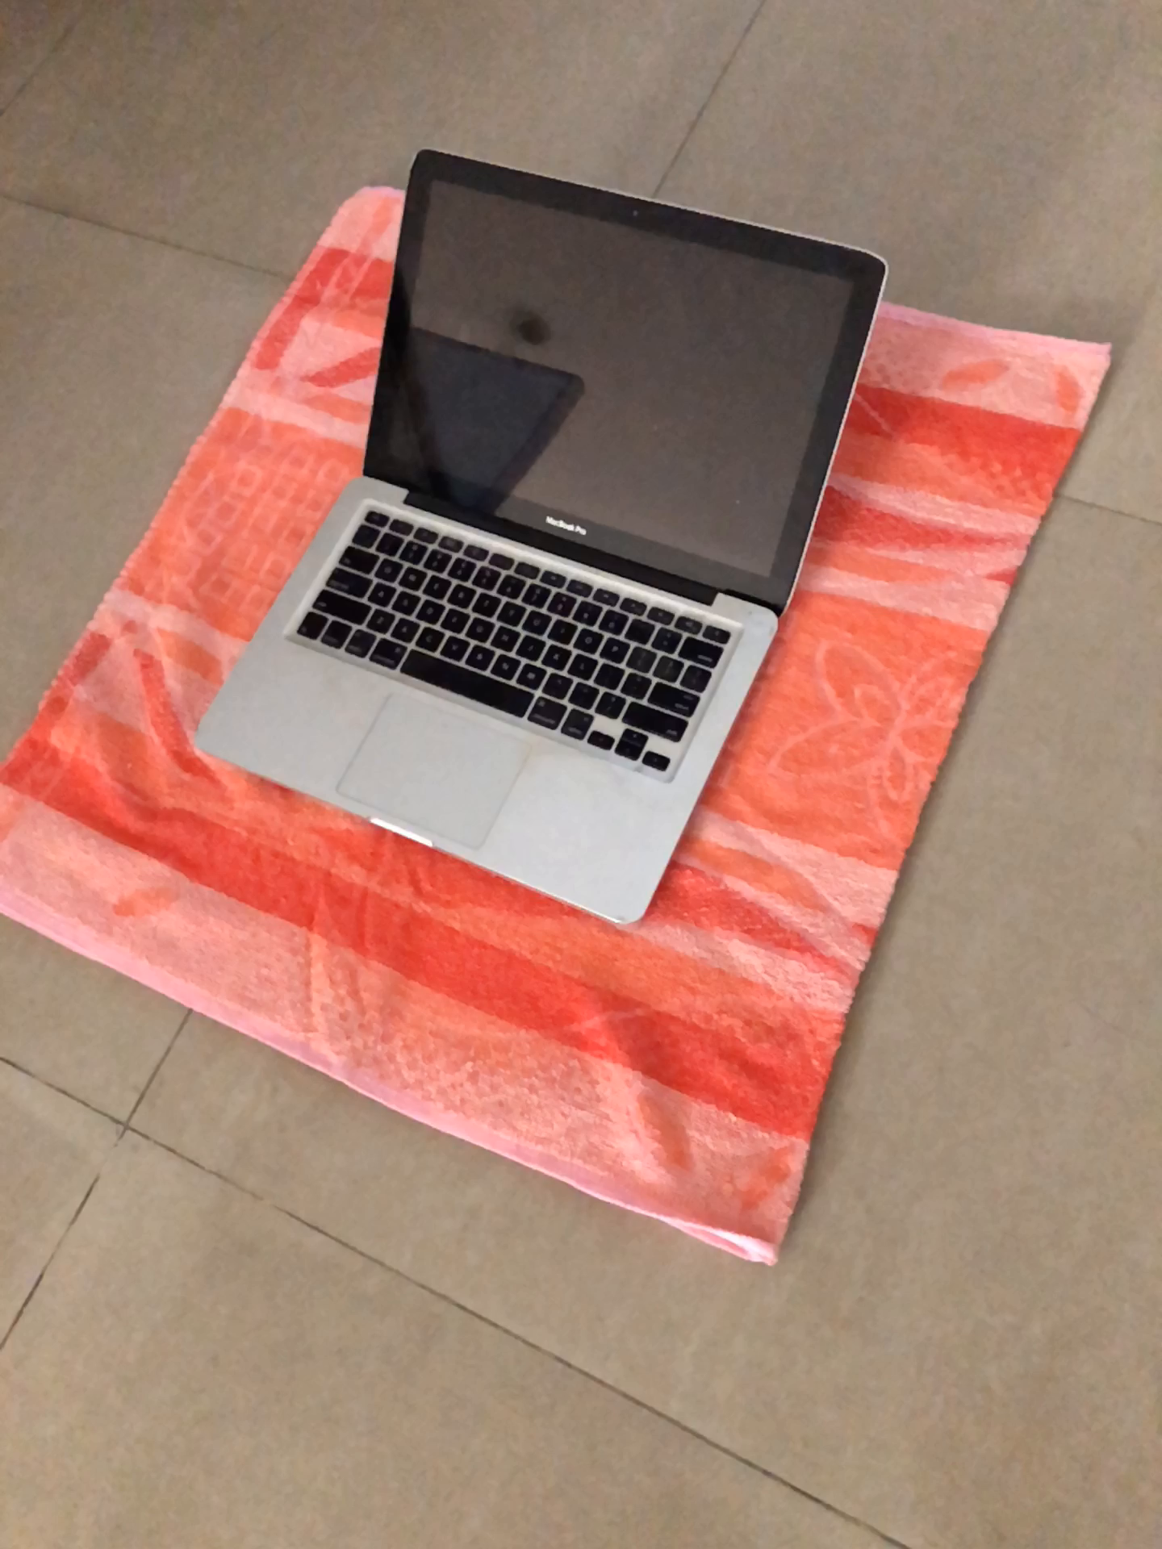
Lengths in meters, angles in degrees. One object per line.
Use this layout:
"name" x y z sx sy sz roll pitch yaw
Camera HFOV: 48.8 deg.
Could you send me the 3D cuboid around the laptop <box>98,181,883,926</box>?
"laptop" -0.035 -0.148 0.780 0.309 0.133 0.373 21 70 16
